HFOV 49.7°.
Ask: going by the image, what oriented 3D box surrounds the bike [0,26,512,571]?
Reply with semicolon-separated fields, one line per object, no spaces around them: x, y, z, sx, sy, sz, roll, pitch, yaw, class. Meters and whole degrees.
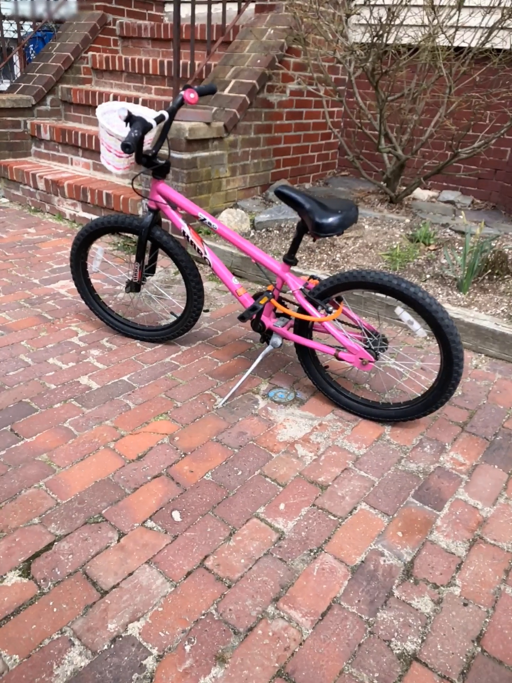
-0.084;-0.234;1.531;1.338;0.907;0.714;18;28;21;bike
